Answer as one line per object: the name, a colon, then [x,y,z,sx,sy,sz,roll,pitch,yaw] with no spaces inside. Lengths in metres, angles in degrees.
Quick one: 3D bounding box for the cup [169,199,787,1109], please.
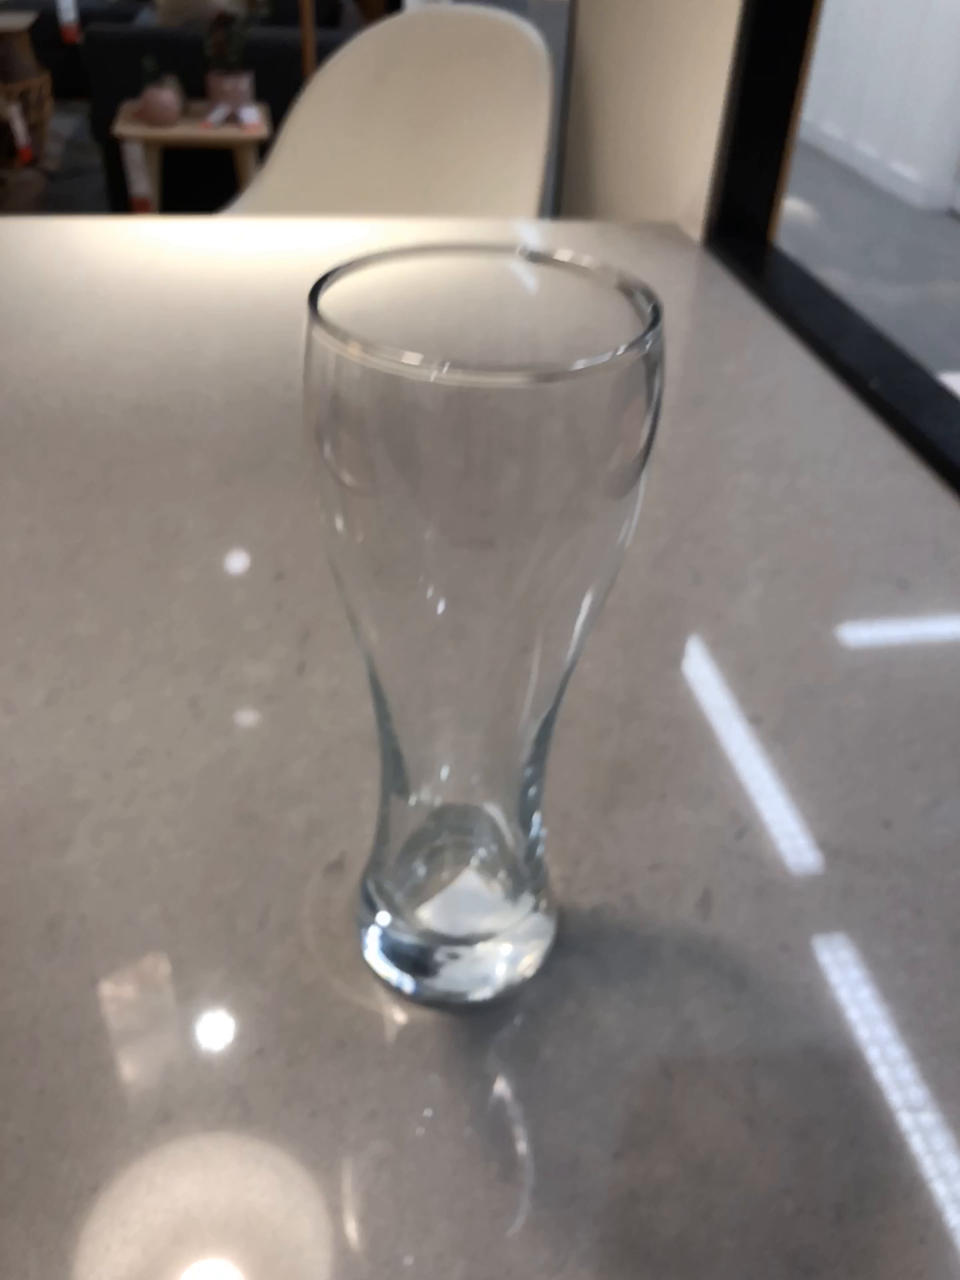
cup: [-0.003,0.008,0.312,0.100,0.219,0.100,2,36,-2]
